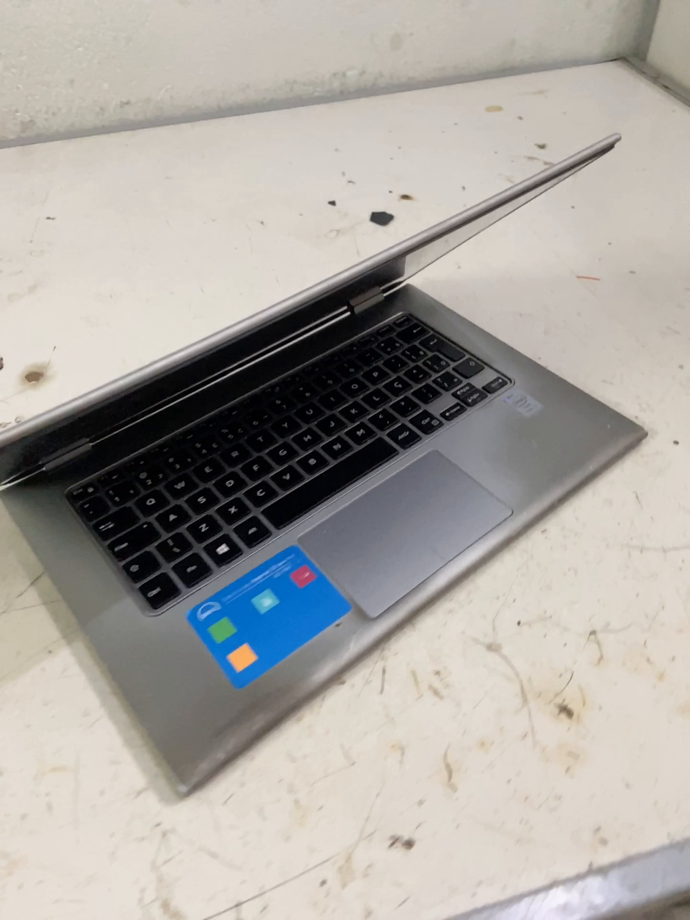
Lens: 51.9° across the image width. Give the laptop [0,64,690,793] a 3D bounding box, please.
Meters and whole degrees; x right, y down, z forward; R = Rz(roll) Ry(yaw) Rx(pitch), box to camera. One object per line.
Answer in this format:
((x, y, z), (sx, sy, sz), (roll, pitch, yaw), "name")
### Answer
((-0.010, -0.053, 0.370), (0.327, 0.155, 0.218), (-32, 53, -25), "laptop")
